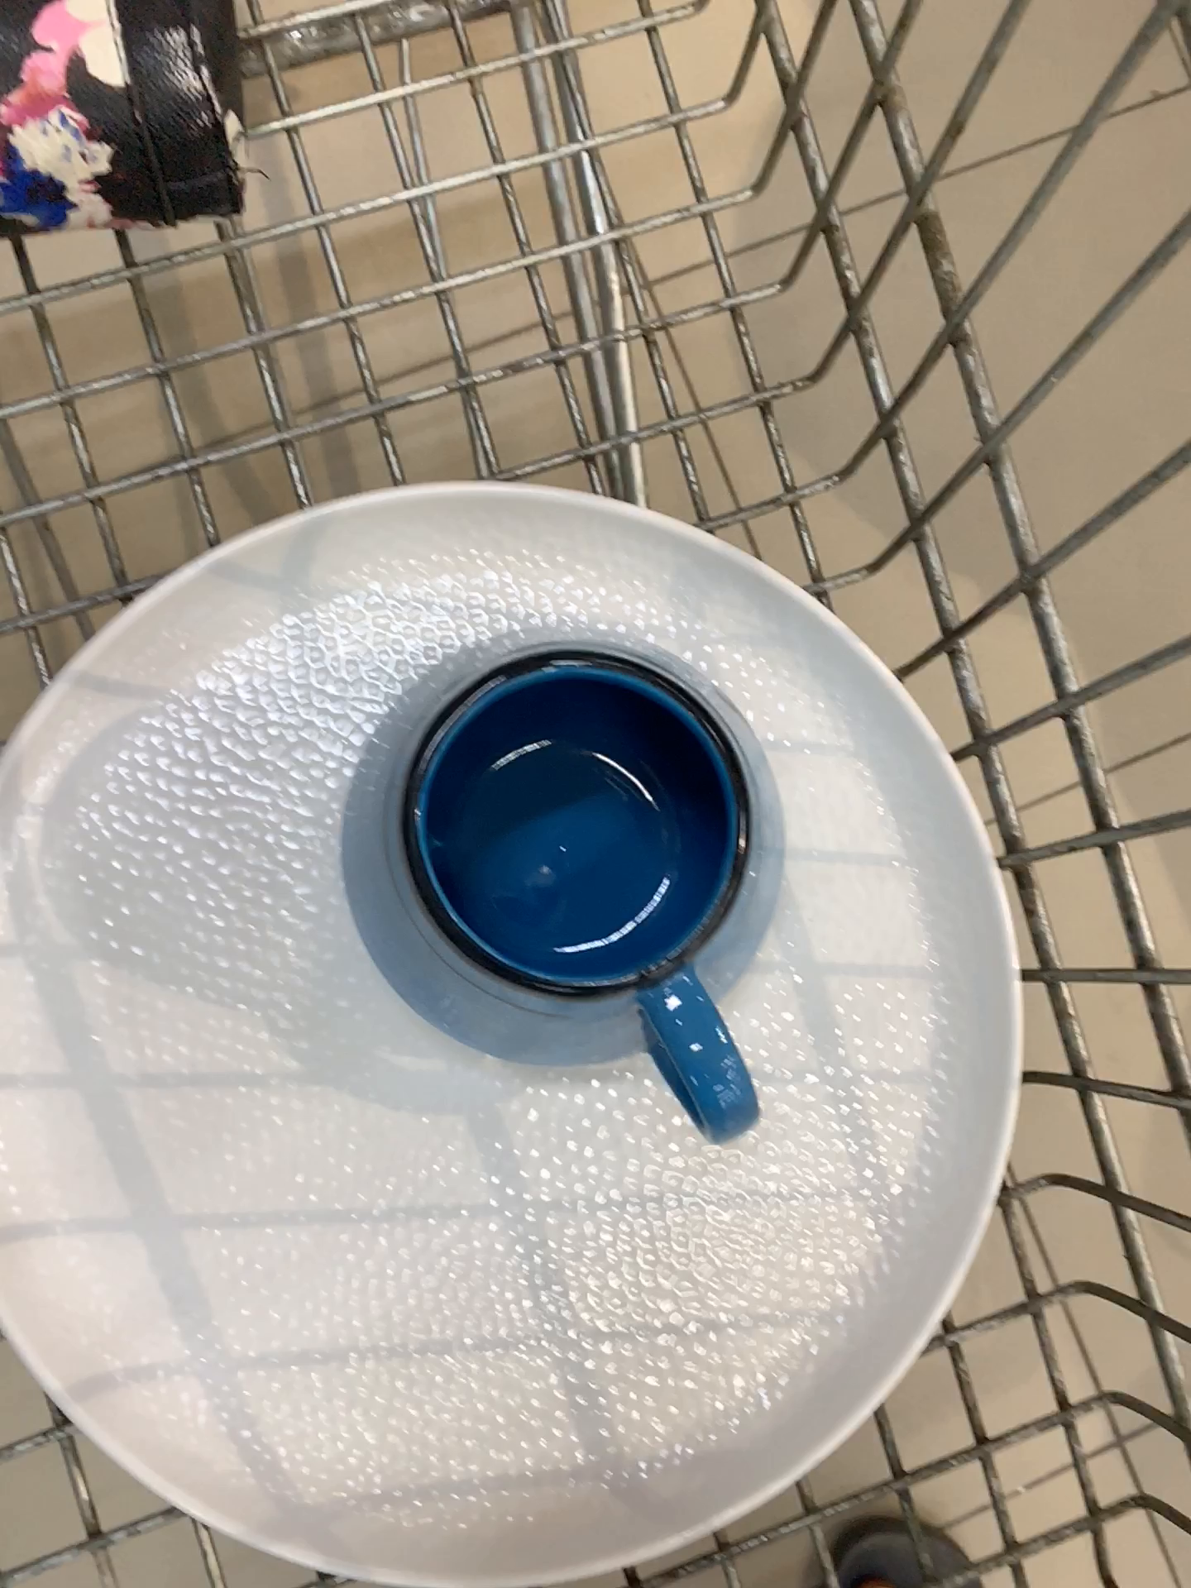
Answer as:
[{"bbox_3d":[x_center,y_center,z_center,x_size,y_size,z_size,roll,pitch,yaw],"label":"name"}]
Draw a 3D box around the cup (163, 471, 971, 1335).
[{"bbox_3d":[-0.008,0.021,0.277,0.100,0.090,0.130,-32,91,-5],"label":"cup"}]
